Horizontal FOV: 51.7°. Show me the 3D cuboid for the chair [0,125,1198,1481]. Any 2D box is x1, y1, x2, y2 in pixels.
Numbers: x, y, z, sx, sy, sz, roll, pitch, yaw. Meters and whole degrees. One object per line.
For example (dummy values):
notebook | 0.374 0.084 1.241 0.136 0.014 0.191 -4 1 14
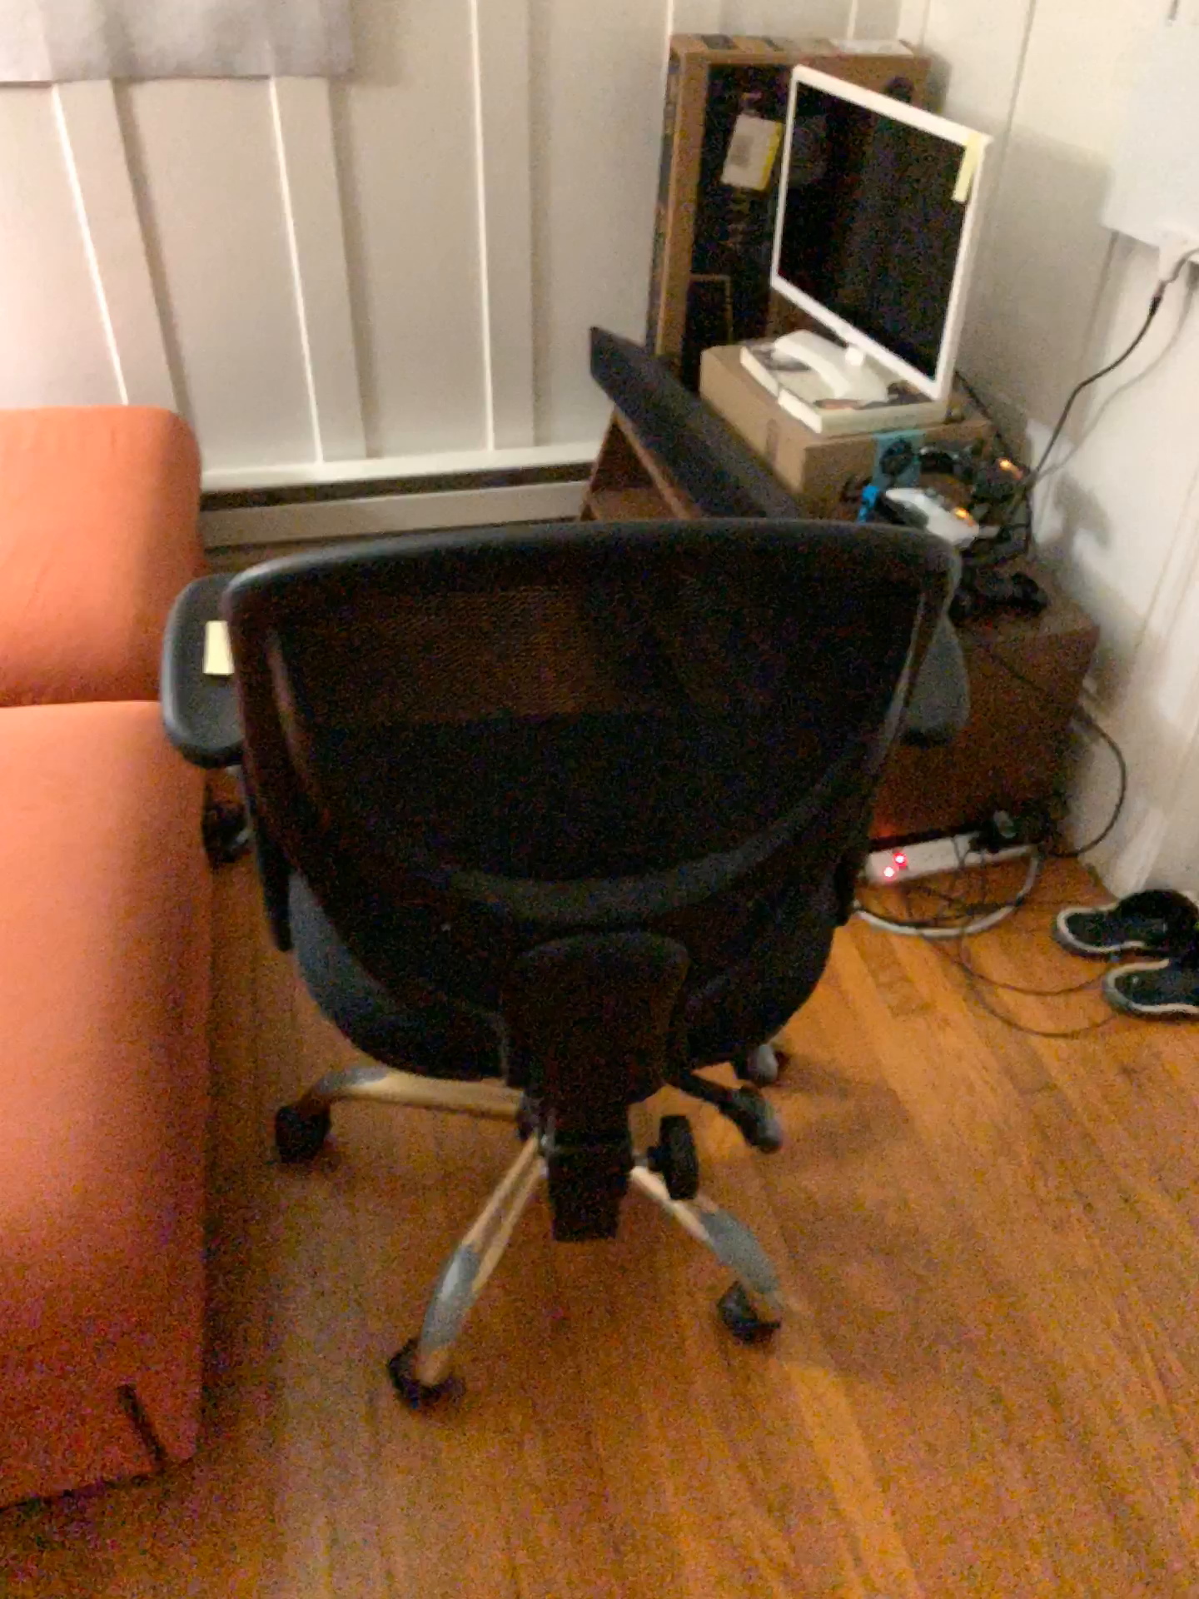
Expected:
chair | -0.061 0.059 1.069 0.640 0.974 0.664 0 44 -2
